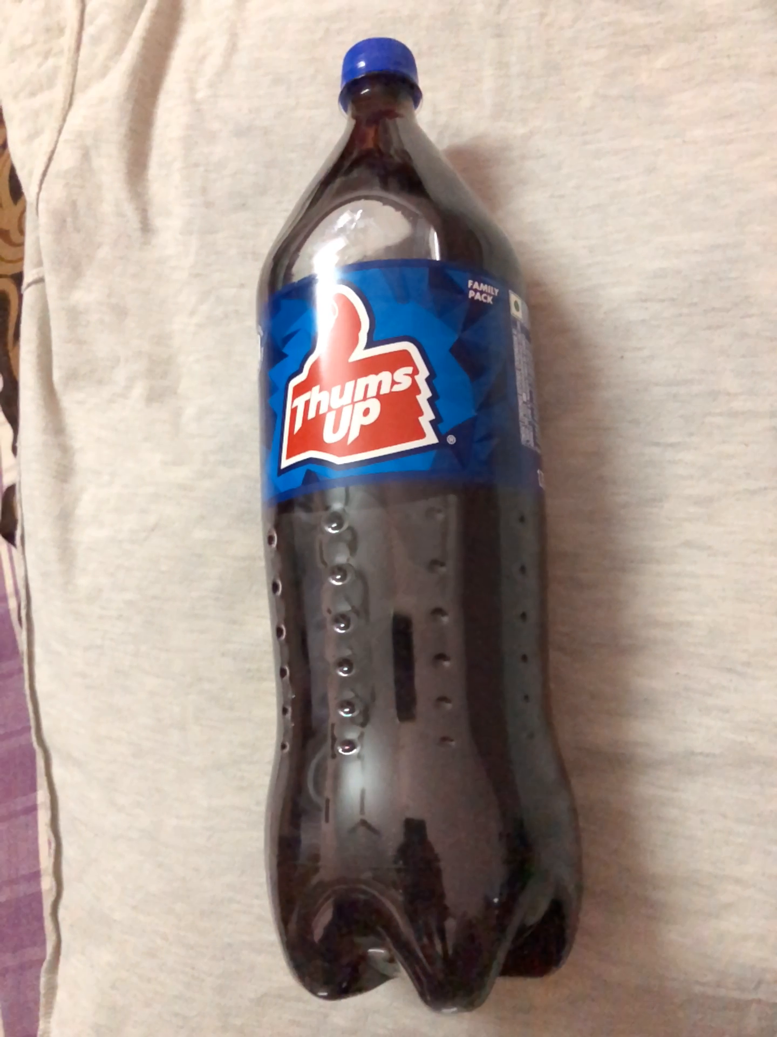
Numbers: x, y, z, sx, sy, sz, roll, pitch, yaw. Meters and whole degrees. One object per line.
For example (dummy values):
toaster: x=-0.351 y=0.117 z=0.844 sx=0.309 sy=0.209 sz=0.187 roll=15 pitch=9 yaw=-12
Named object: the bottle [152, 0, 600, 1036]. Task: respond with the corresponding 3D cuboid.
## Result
bottle: x=-0.009 y=-0.023 z=0.260 sx=0.100 sy=0.060 sz=0.300 roll=-8 pitch=78 yaw=21
